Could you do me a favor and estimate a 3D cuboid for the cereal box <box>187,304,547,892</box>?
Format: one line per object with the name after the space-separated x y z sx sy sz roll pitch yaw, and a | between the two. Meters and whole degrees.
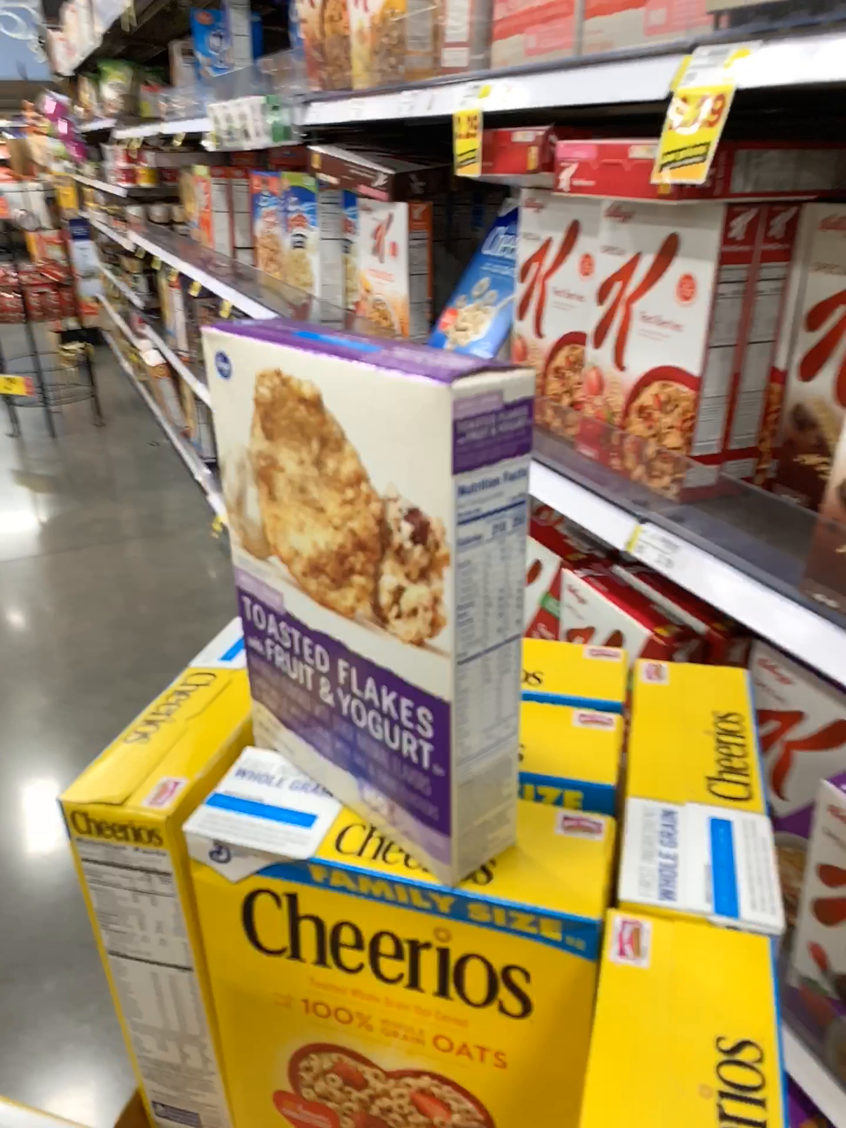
-0.035 0.010 0.474 0.060 0.269 0.201 -23 33 -38 | cereal box
